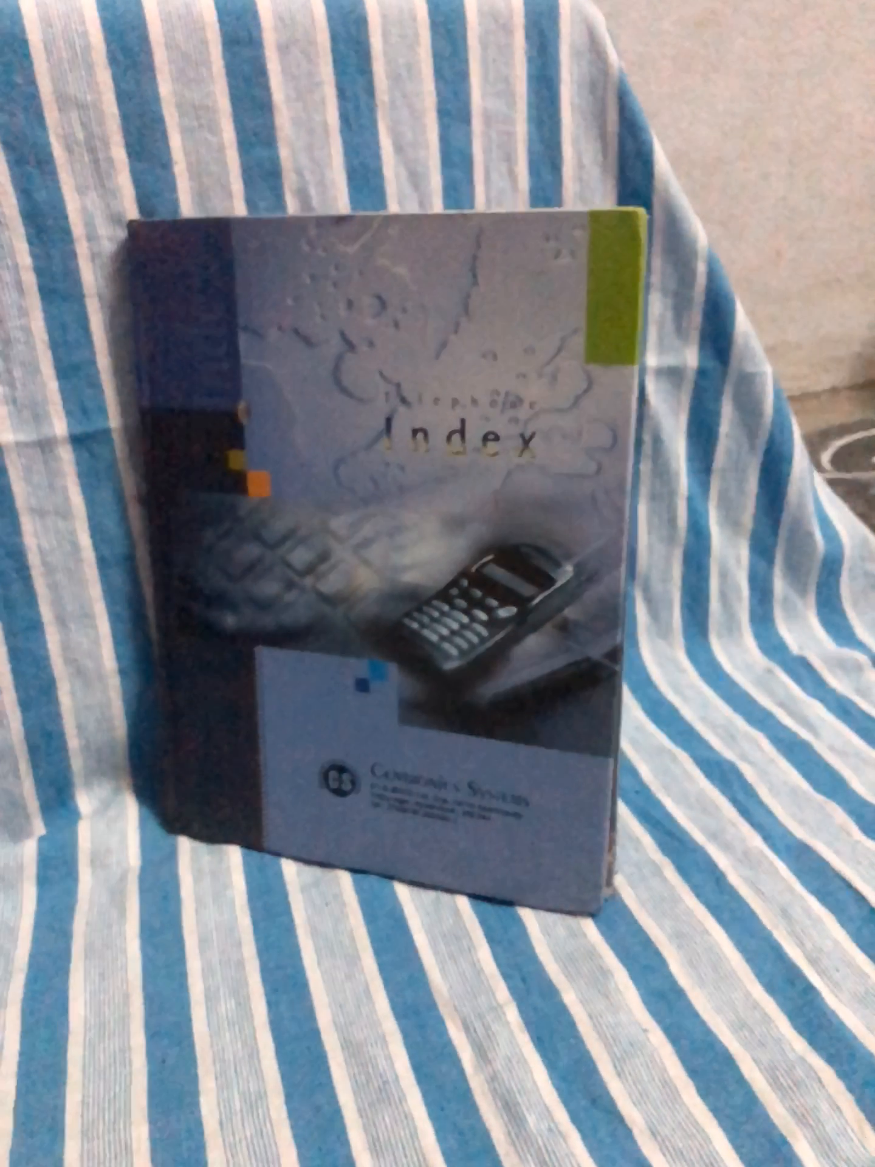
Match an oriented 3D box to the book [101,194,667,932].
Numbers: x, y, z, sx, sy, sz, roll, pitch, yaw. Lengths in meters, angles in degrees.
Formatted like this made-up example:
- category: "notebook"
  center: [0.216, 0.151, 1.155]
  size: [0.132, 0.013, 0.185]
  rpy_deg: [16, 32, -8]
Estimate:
- category: "book"
  center: [-0.024, -0.006, 0.359]
  size: [0.193, 0.253, 0.023]
  rpy_deg: [6, 18, 17]
